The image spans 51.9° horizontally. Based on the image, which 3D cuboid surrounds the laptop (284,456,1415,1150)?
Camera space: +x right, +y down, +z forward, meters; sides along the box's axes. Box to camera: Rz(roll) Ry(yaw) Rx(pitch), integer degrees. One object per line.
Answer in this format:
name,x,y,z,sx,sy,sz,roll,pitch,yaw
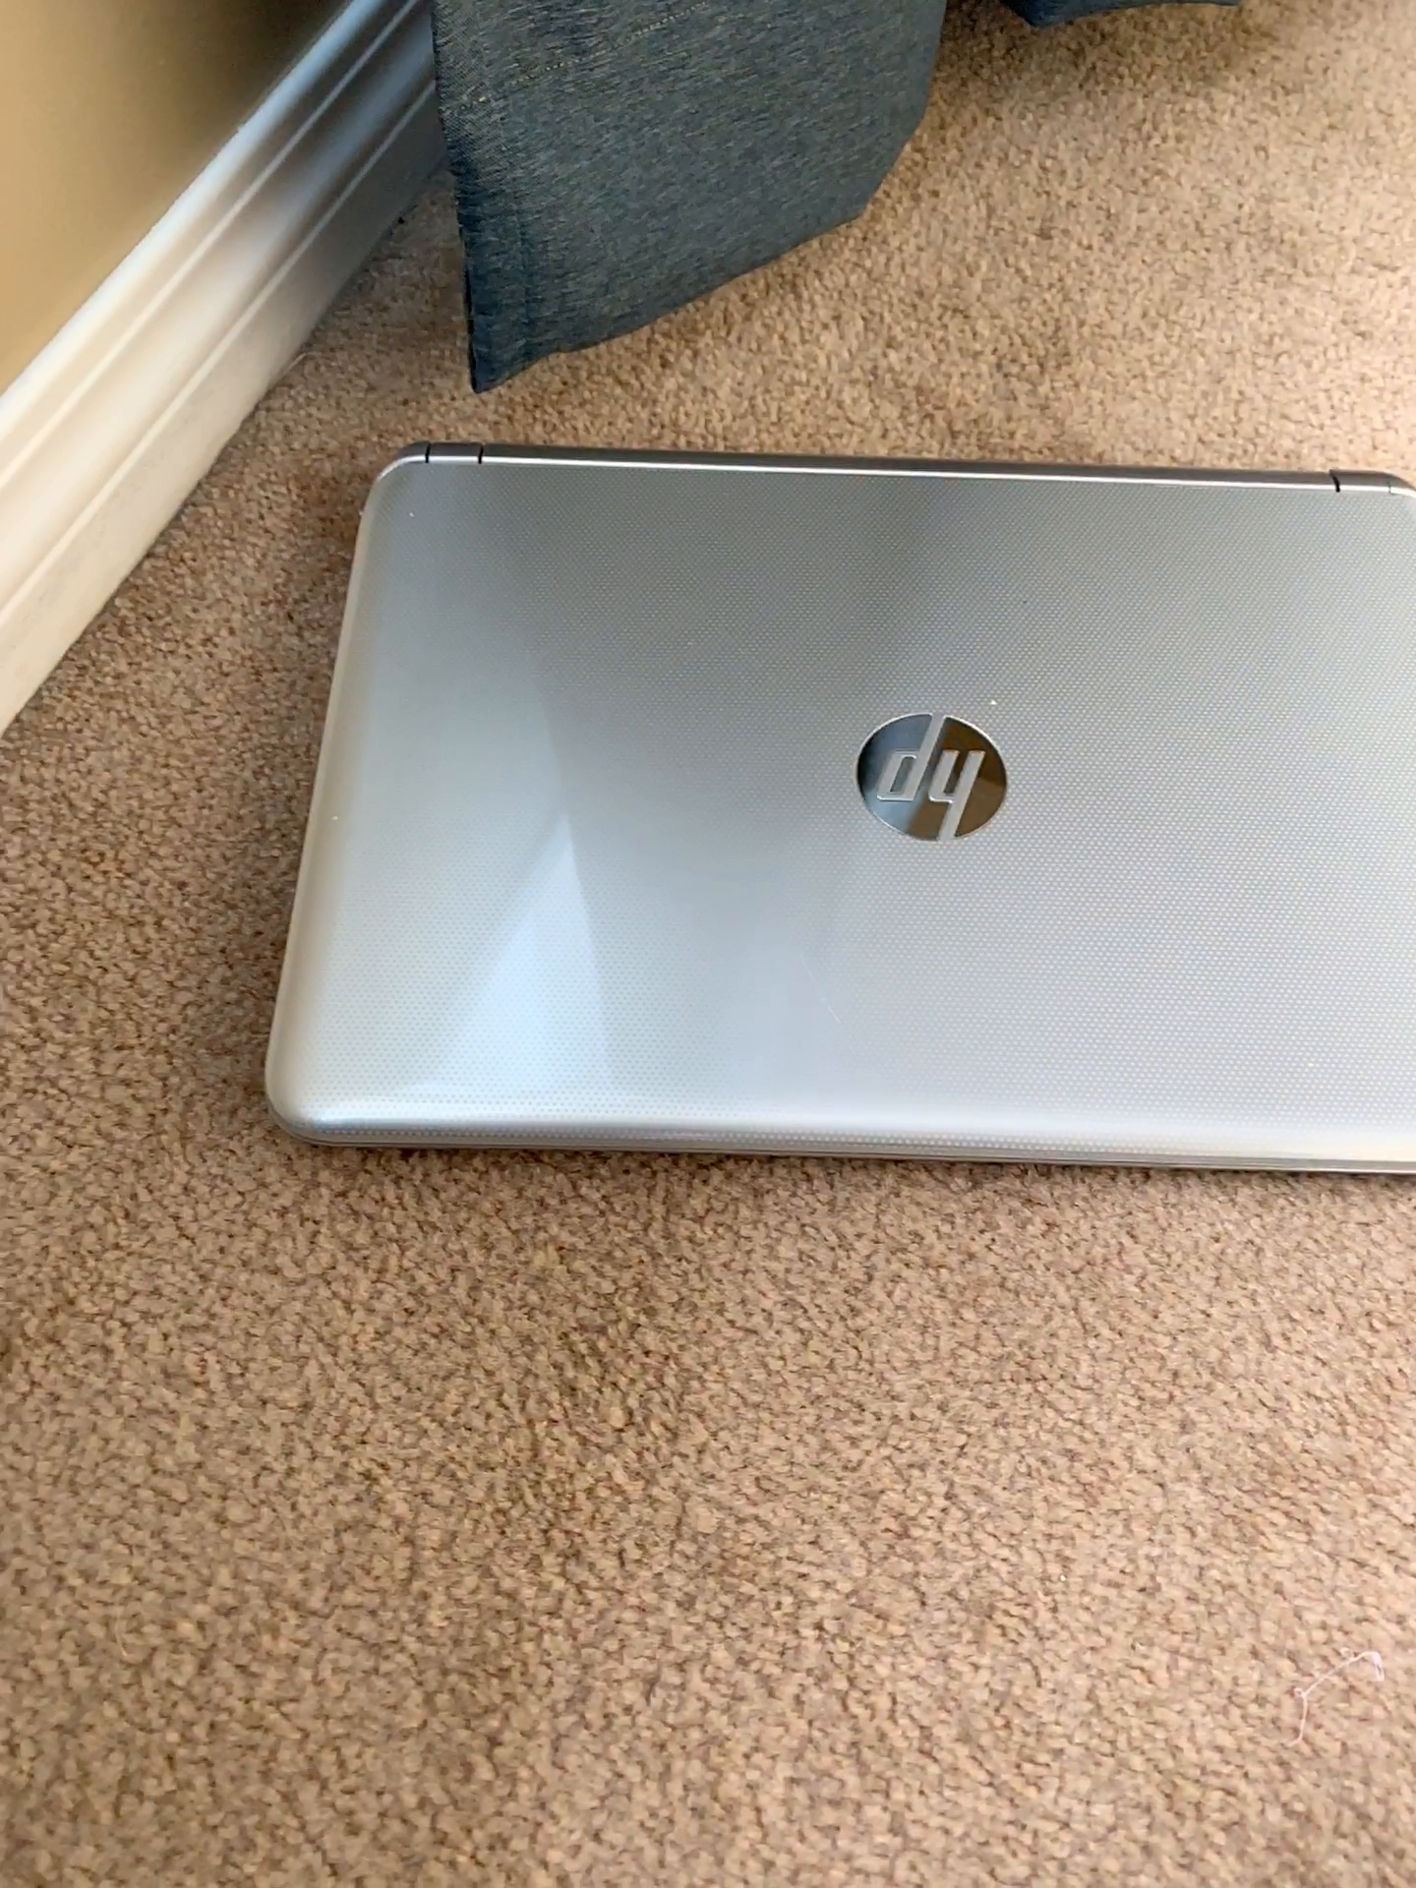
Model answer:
laptop,0.062,-0.053,0.409,0.328,0.002,0.223,2,60,1
